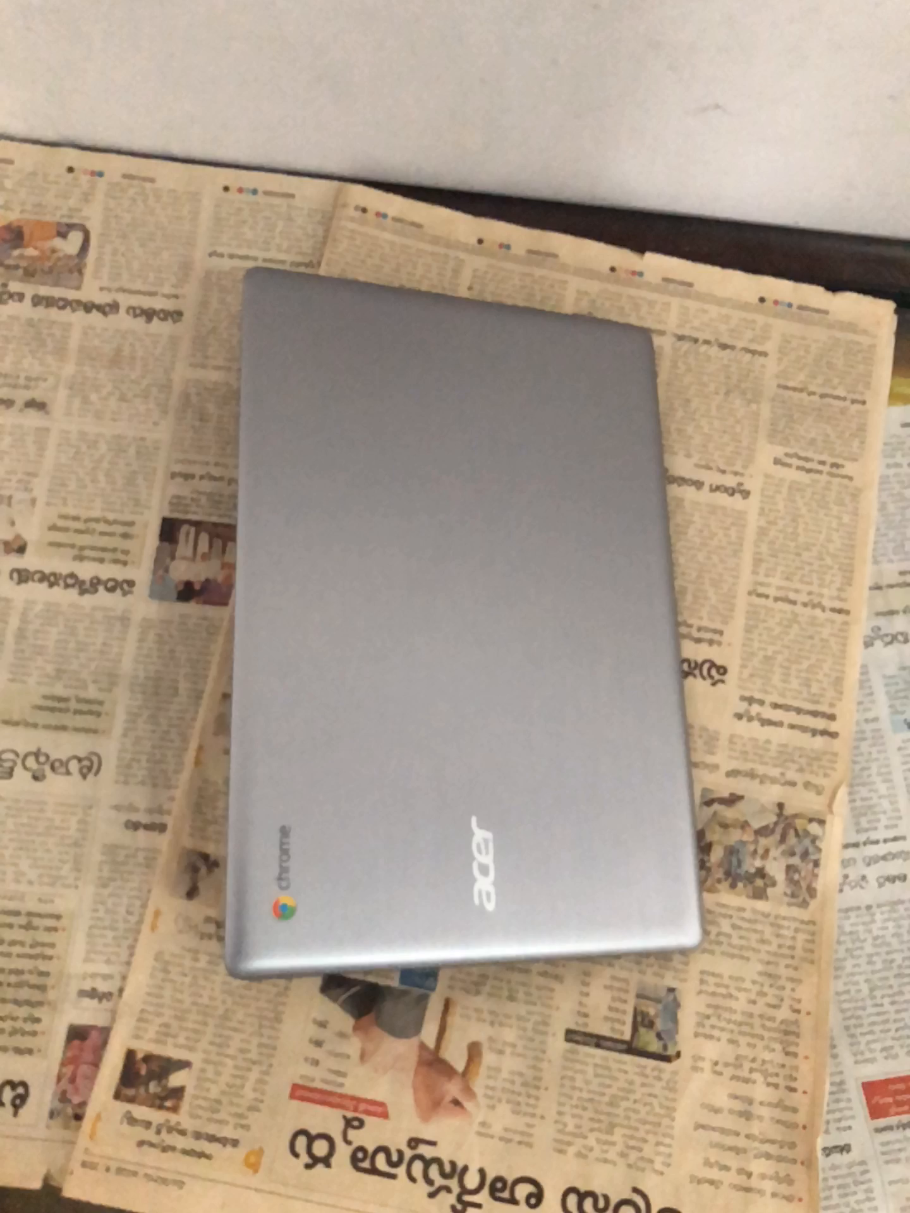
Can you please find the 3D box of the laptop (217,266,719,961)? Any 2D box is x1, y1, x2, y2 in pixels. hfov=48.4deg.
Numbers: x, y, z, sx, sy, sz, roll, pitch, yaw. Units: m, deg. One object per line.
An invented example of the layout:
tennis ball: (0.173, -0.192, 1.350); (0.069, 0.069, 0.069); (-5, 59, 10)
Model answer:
laptop: (0.001, -0.004, 0.497); (0.210, 0.058, 0.330); (0, 74, -3)
